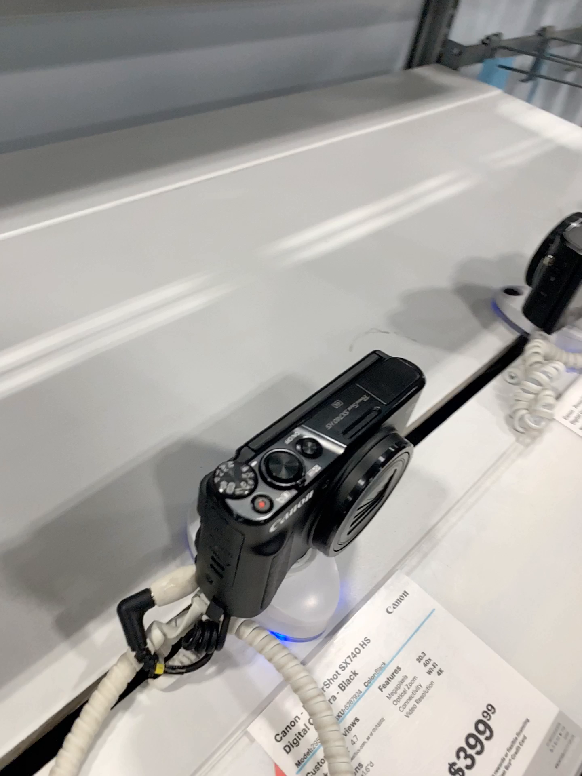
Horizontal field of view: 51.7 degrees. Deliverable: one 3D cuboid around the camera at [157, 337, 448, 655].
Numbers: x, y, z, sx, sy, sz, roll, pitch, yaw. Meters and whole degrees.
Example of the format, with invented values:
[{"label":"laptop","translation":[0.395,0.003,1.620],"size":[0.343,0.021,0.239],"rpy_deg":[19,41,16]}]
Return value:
[{"label":"camera","translation":[0.007,0.038,0.245],"size":[0.041,0.064,0.120],"rpy_deg":[36,48,23]}]
